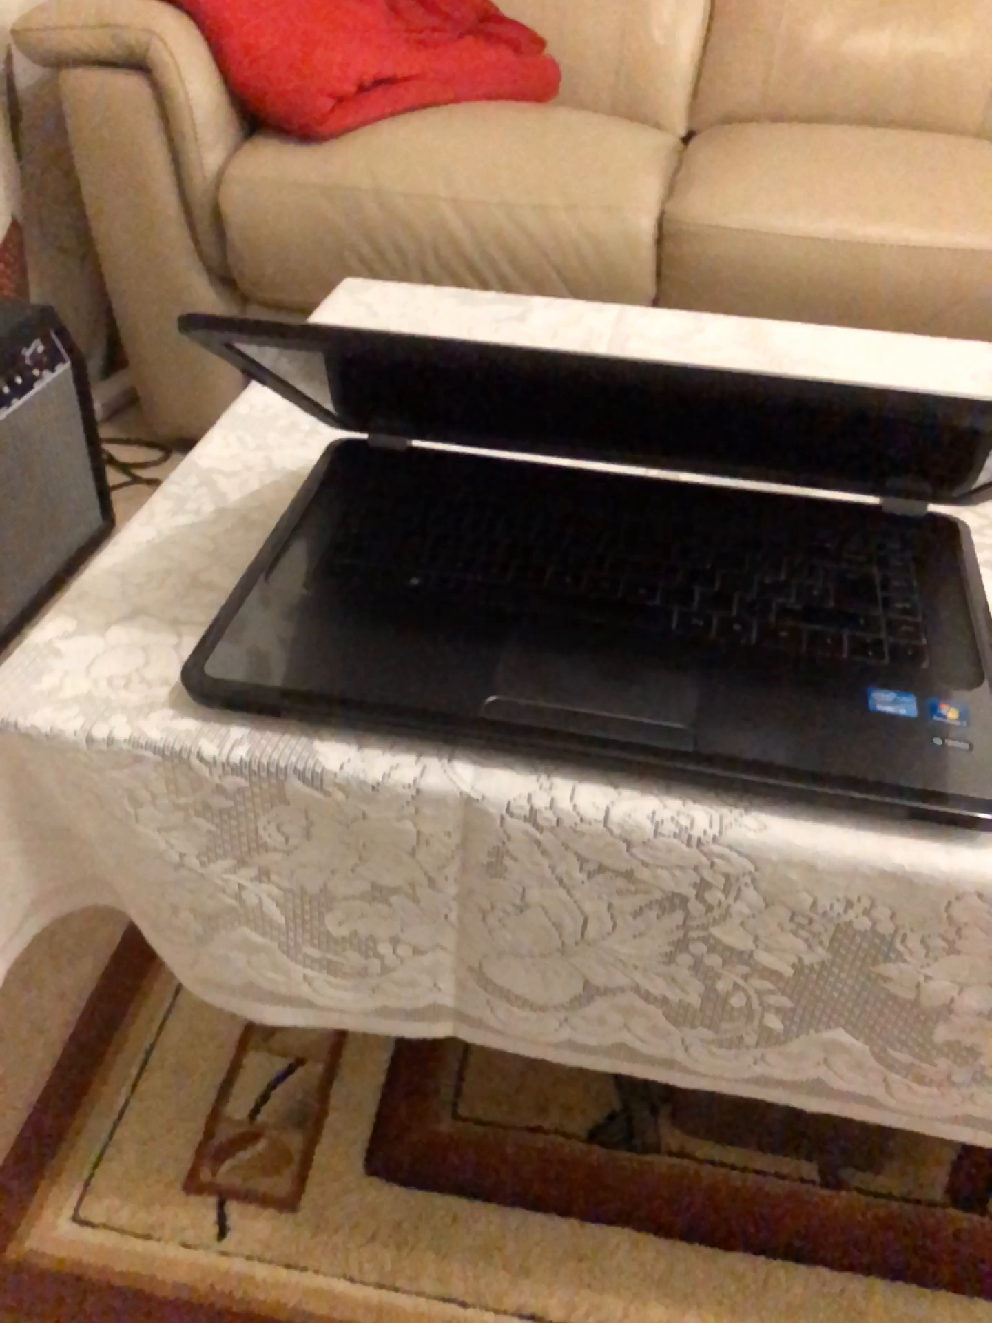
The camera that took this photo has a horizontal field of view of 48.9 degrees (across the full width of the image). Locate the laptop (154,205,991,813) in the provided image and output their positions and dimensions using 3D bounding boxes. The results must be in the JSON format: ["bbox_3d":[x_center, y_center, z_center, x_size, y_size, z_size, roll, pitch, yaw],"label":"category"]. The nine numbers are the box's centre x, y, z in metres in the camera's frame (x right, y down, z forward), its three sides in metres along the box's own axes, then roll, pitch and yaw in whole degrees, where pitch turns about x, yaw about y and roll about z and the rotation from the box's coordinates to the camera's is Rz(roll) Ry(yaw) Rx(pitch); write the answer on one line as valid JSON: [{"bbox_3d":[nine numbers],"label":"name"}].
[{"bbox_3d":[0.066,-0.094,0.517,0.360,0.139,0.239,8,39,8],"label":"laptop"}]
